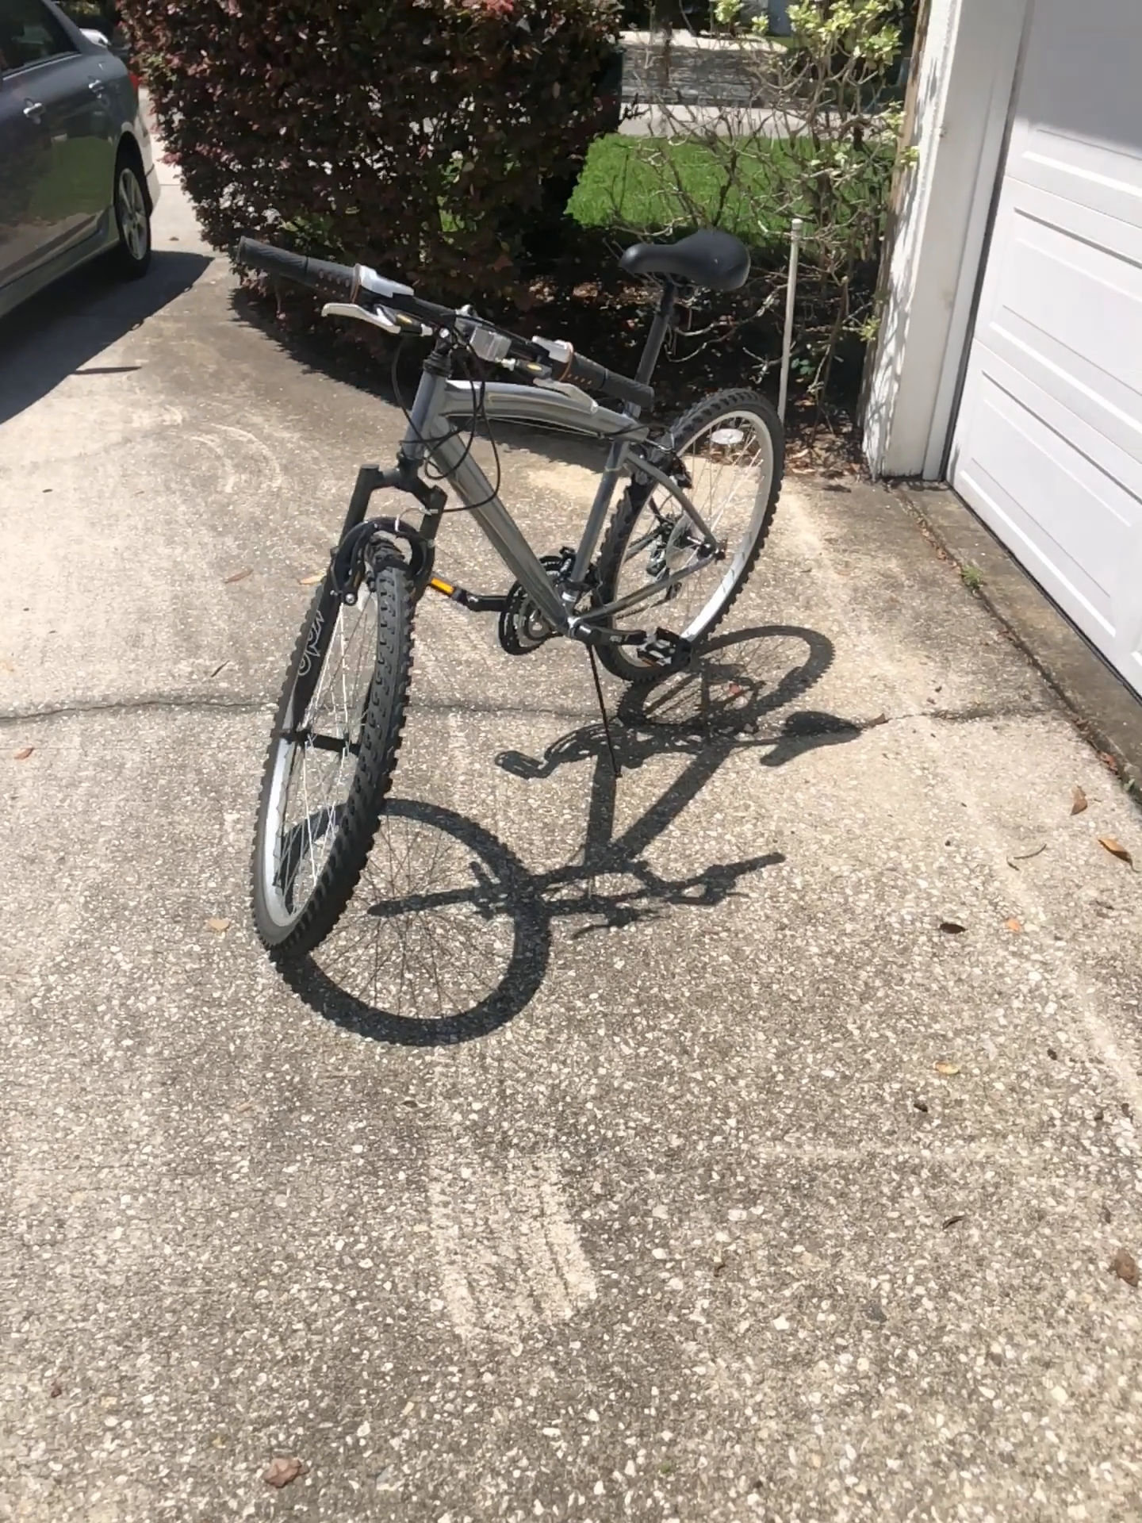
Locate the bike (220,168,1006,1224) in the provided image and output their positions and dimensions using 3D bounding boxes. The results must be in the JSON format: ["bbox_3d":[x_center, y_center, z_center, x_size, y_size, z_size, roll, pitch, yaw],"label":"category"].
[{"bbox_3d":[0.169,-0.326,2.138,0.680,0.980,1.537,17,37,23],"label":"bike"}]
